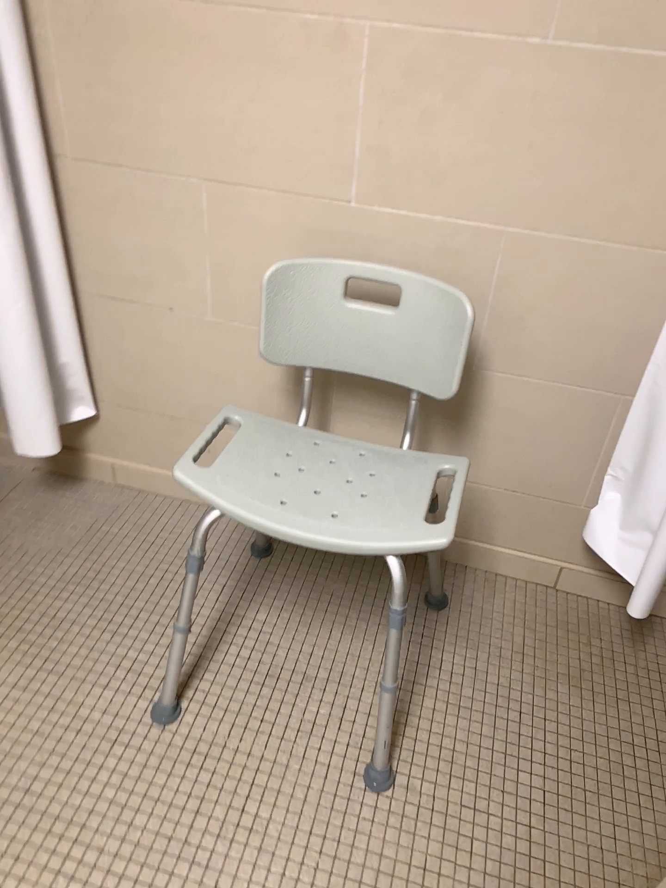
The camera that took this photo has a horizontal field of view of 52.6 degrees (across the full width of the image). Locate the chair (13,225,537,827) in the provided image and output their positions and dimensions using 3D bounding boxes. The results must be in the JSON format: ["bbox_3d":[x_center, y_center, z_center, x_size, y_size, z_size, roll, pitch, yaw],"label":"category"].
[{"bbox_3d":[-0.032,0.126,1.129,0.549,0.745,0.524,11,39,12],"label":"chair"}]
